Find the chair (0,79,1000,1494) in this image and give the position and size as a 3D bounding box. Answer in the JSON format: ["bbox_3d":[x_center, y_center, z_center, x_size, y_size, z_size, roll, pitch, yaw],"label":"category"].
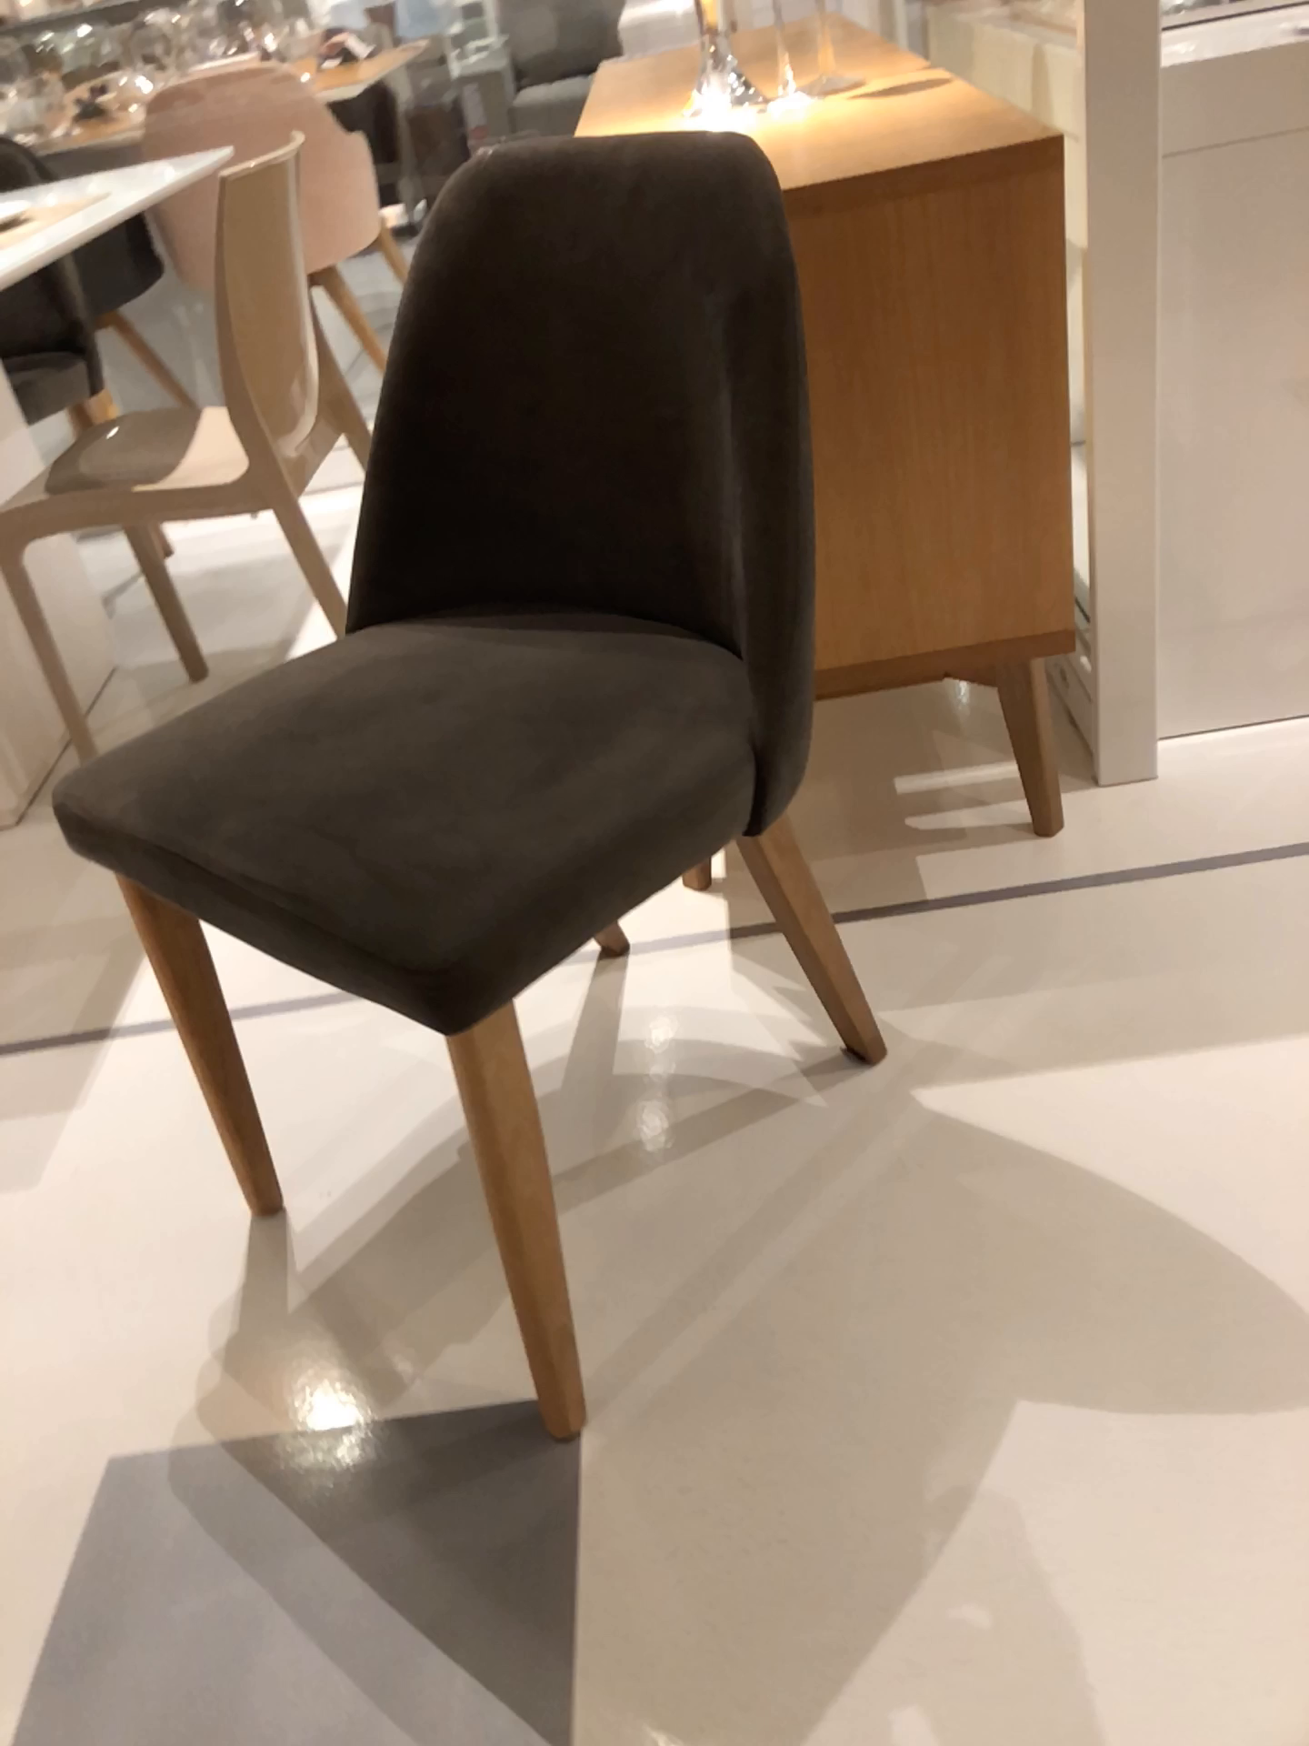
[{"bbox_3d":[-0.137,-0.100,1.120,0.532,0.774,0.562,19,44,40],"label":"chair"}]
